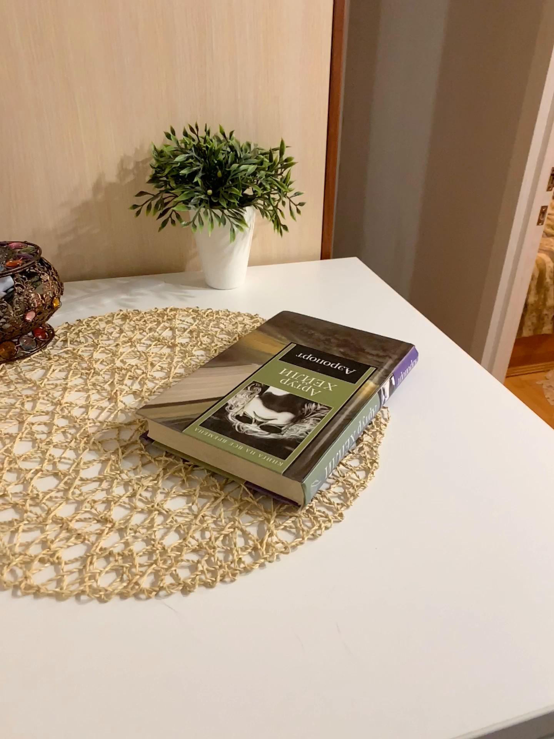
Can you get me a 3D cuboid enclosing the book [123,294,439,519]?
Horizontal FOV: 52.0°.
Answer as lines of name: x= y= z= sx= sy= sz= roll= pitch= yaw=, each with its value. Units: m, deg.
book: x=0.018 y=0.007 z=0.447 sx=0.150 sy=0.020 sz=0.232 roll=18 pitch=35 yaw=25
